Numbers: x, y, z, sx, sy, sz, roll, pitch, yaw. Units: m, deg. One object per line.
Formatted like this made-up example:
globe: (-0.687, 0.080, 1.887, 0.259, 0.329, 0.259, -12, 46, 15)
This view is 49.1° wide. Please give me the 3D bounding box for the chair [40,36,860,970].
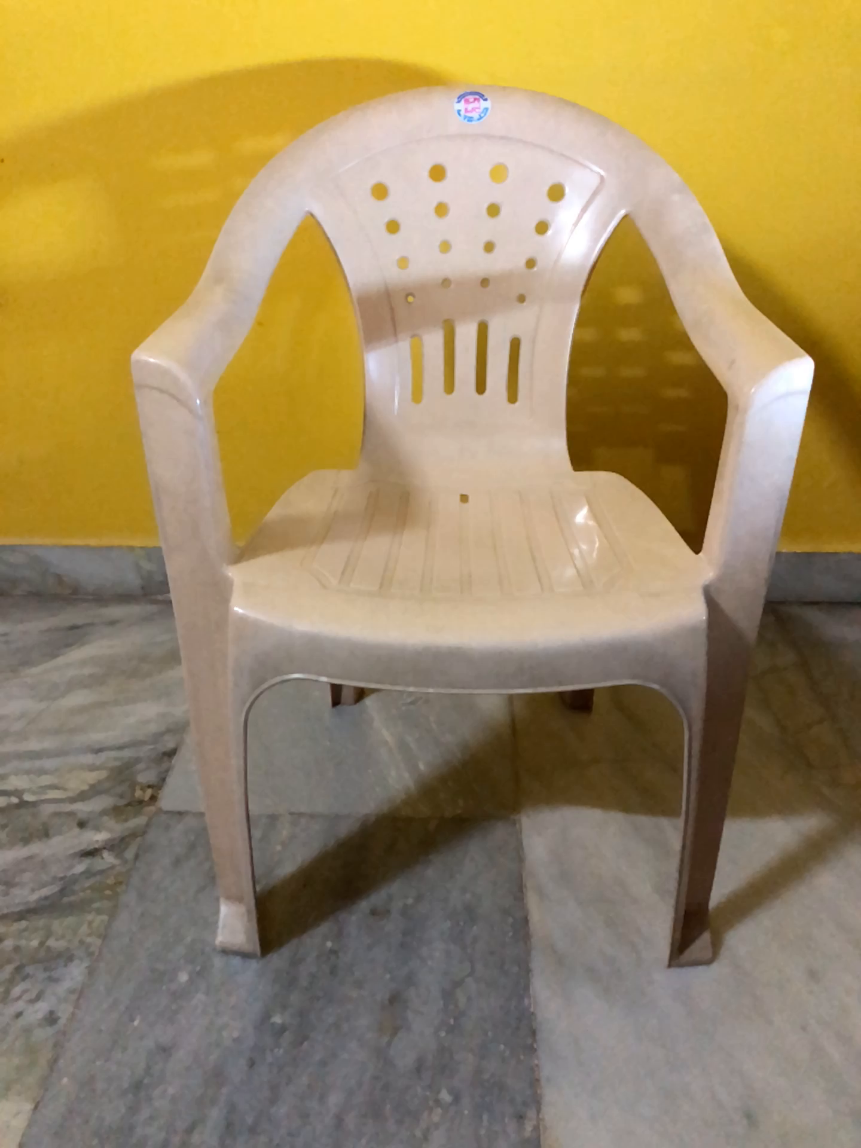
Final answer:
chair: (0.049, -0.100, 0.974, 0.530, 0.785, 0.564, 0, 29, 1)
